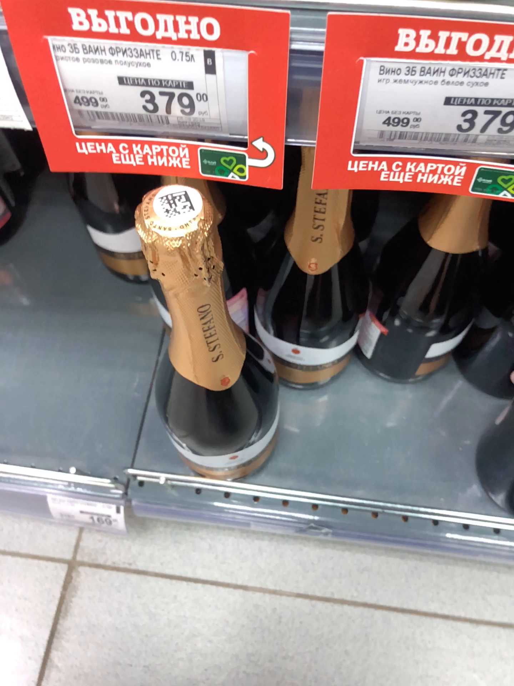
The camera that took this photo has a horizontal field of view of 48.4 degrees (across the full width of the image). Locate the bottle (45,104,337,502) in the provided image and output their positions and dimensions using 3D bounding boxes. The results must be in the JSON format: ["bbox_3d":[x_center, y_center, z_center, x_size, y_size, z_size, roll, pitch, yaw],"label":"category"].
[{"bbox_3d":[-0.027,0.012,0.364,0.100,0.299,0.090,-15,64,-6],"label":"bottle"}]
